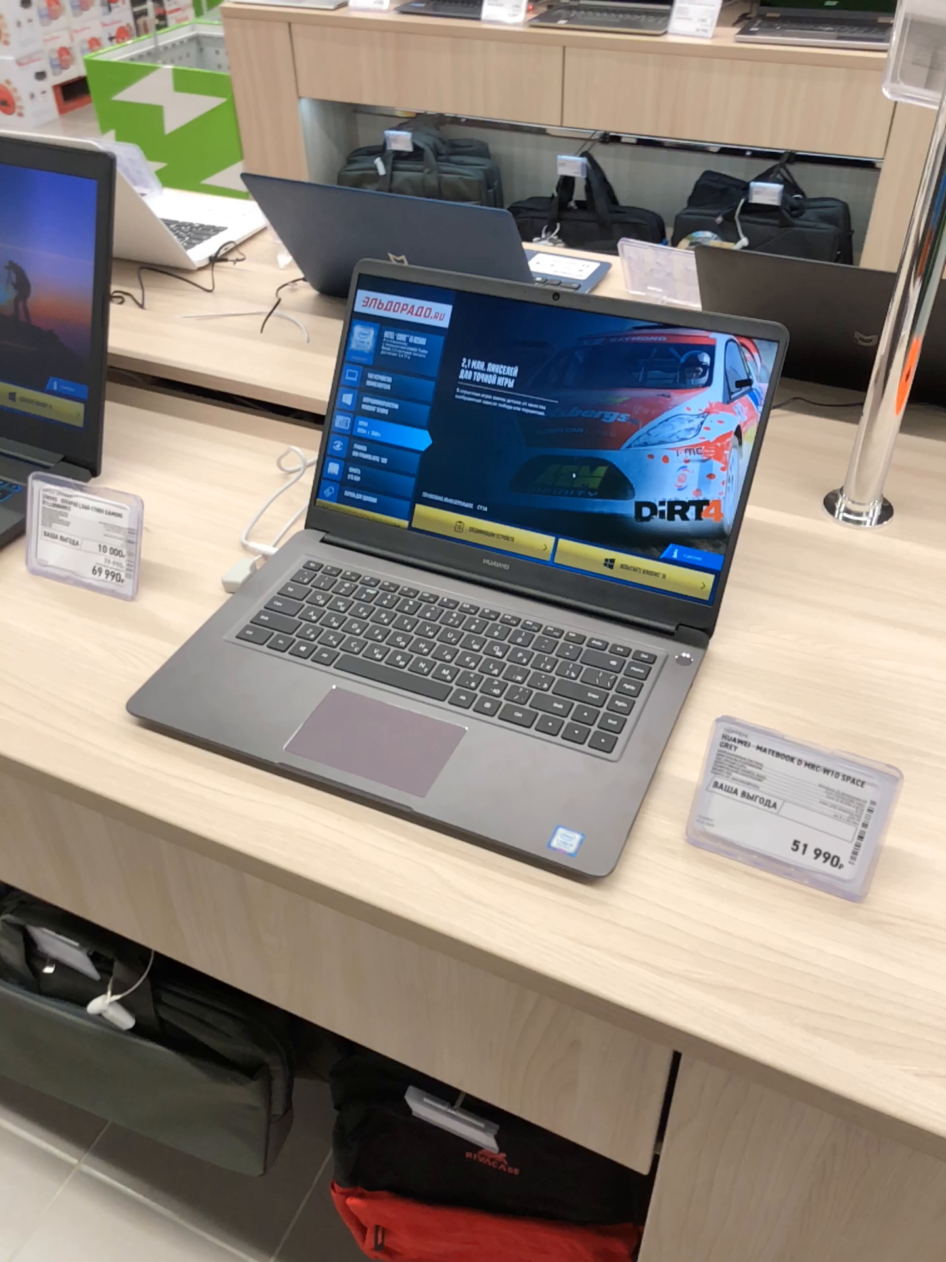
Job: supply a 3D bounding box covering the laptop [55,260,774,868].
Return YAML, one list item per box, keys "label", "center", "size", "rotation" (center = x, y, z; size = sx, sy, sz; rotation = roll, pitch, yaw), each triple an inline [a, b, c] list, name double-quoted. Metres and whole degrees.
- label: "laptop"
  center: [-0.013, -0.083, 0.729]
  size: [0.344, 0.180, 0.359]
  rotation: [15, 43, 19]

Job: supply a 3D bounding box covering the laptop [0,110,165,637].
- label: "laptop"
  center: [-0.570, -0.250, 0.885]
  size: [0.392, 0.242, 0.380]
  rotation: [17, 43, 21]
